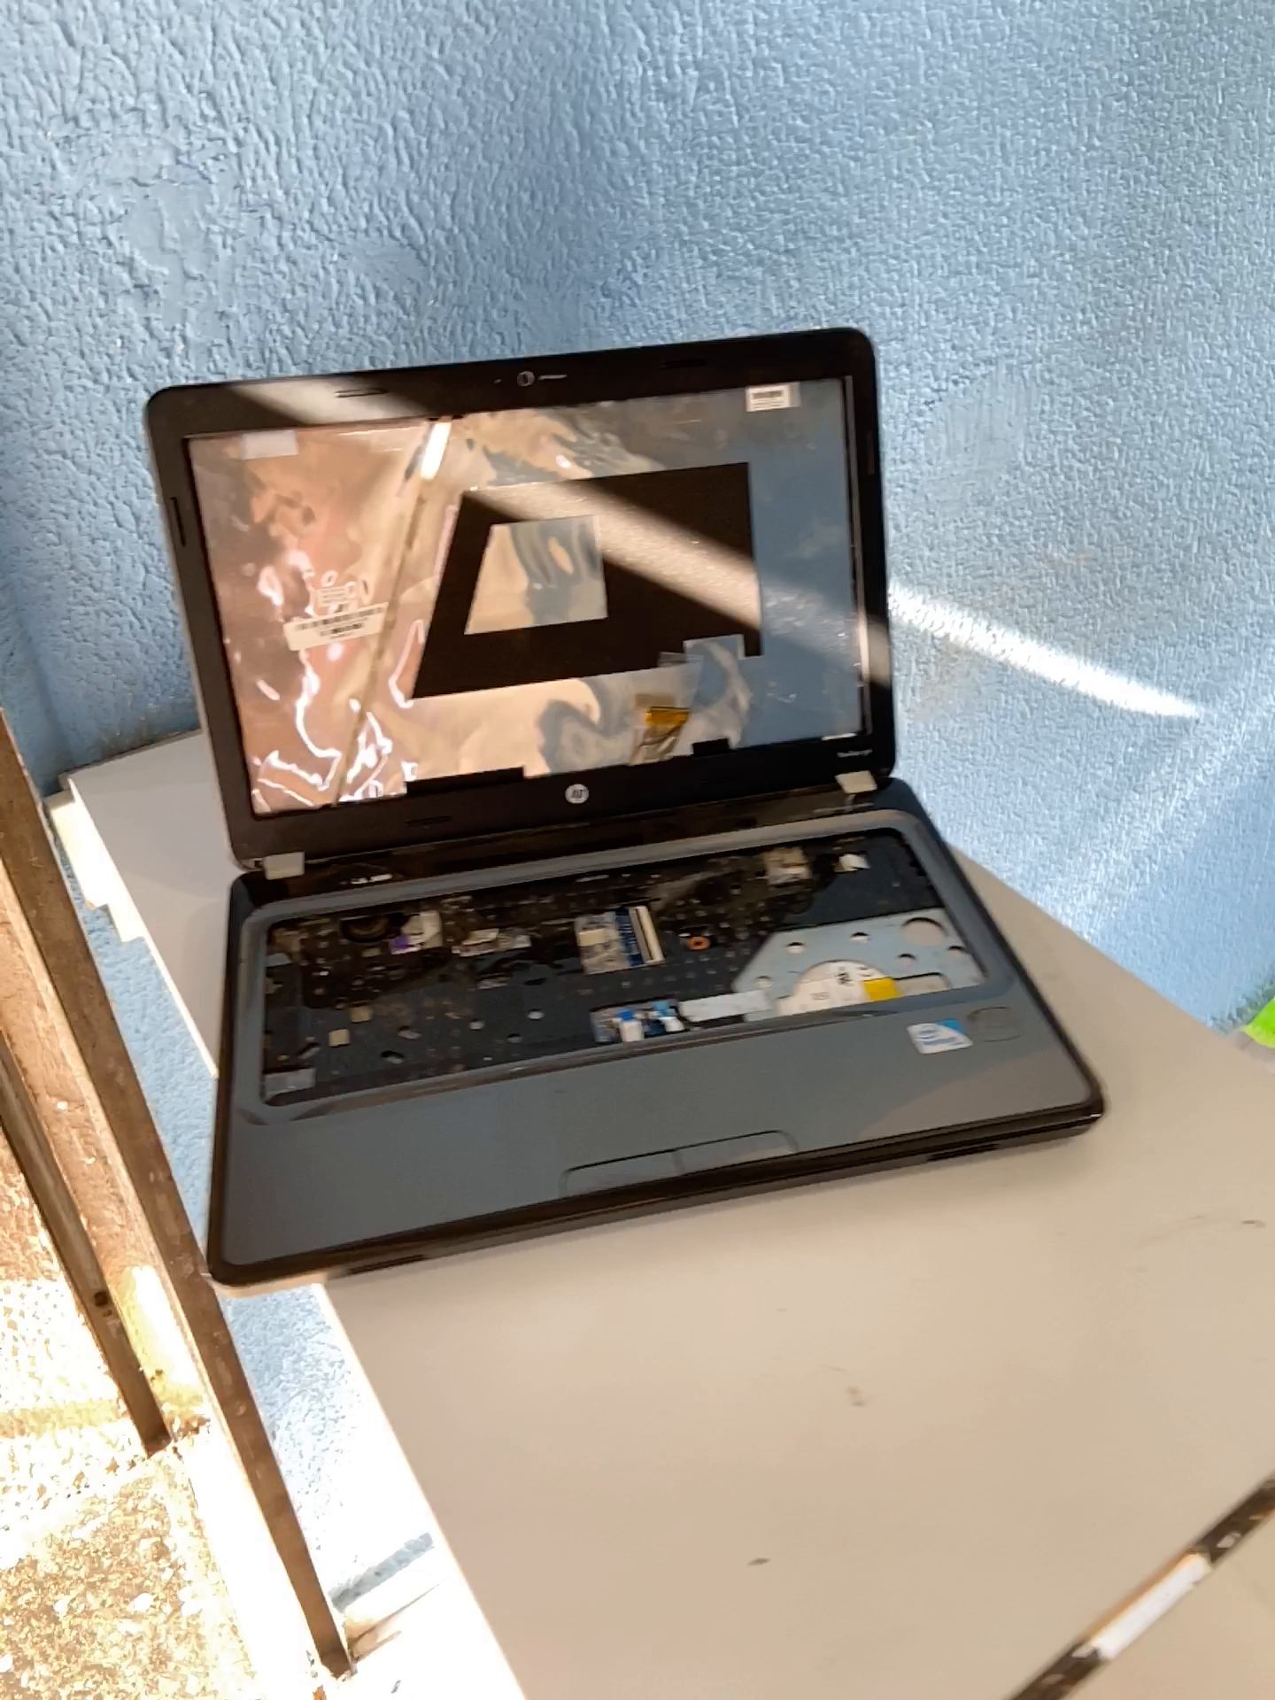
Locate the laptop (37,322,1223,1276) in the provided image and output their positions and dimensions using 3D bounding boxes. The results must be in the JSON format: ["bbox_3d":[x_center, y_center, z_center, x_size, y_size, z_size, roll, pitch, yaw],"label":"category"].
[{"bbox_3d":[-0.019,-0.054,0.544,0.335,0.194,0.325,-8,38,-7],"label":"laptop"}]
